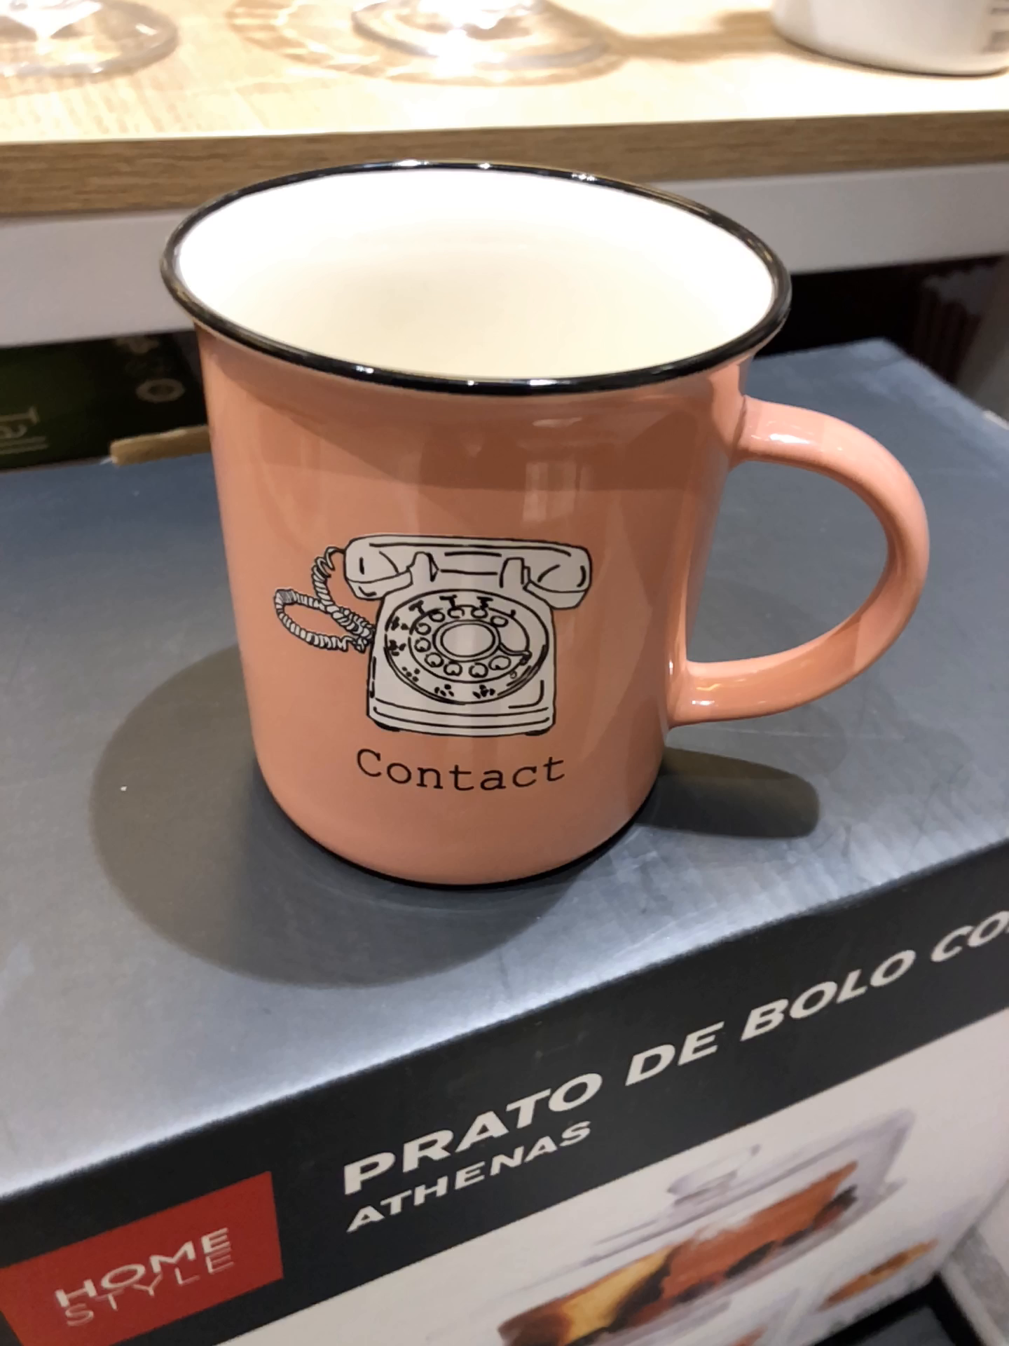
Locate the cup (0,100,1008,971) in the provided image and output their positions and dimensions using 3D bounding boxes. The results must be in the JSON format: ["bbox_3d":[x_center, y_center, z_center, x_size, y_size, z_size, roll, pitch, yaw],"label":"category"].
[{"bbox_3d":[0.004,-0.020,0.167,0.110,0.089,0.081,4,41,-2],"label":"cup"}]
